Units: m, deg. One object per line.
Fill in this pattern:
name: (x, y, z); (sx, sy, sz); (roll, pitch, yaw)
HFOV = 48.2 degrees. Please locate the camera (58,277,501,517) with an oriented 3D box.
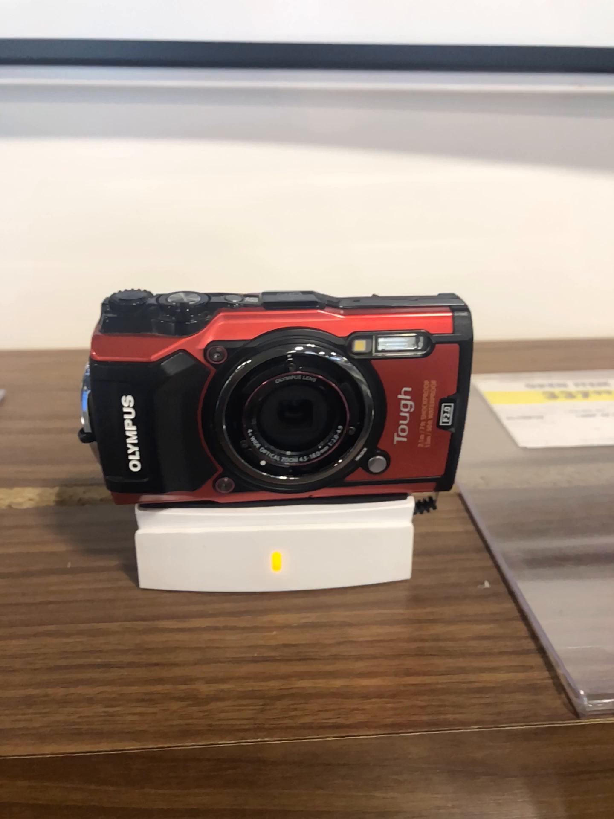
camera: (-0.007, -0.005, 0.208); (0.117, 0.064, 0.030); (-1, 24, -3)
